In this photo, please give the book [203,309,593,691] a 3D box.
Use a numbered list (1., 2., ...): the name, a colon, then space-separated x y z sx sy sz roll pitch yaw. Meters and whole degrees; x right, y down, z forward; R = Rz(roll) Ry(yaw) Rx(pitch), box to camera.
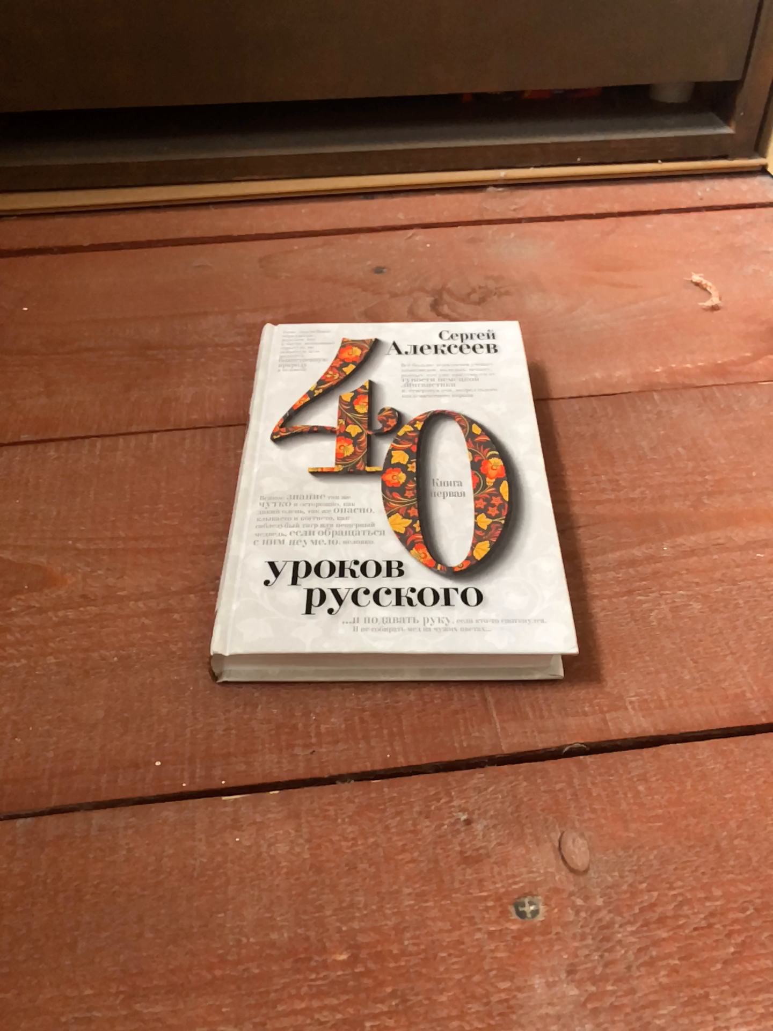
1. book: 0.004 -0.019 0.376 0.135 0.030 0.201 0 48 0
